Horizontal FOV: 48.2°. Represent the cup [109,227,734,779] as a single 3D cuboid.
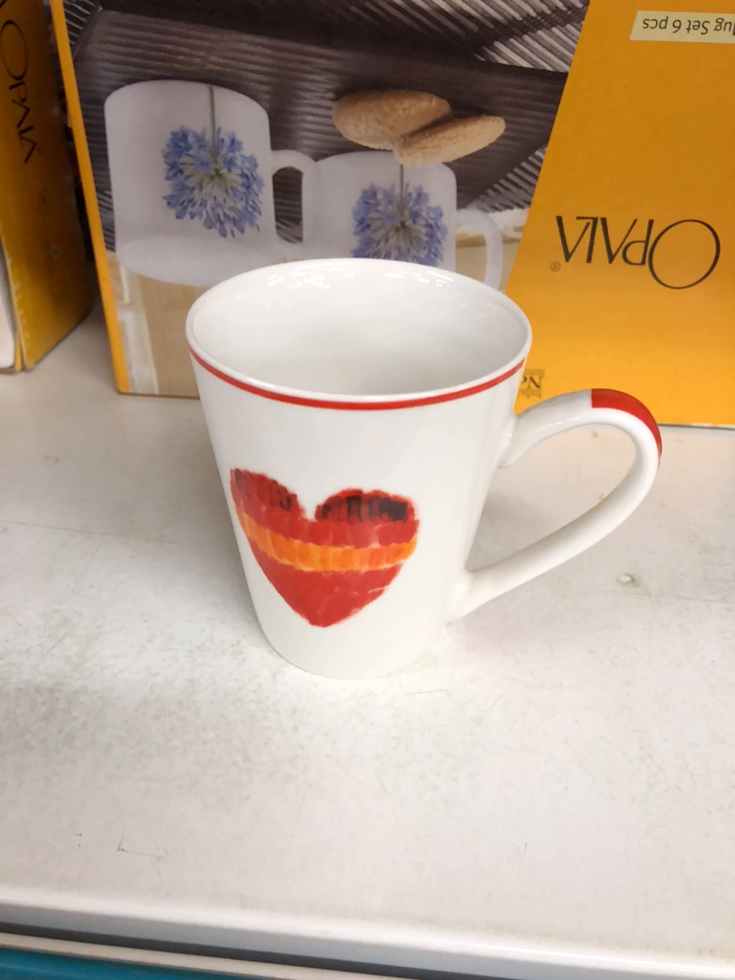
[{"bbox_3d":[0.015,-0.001,0.212,0.120,0.099,0.081,7,35,8],"label":"cup"}]
